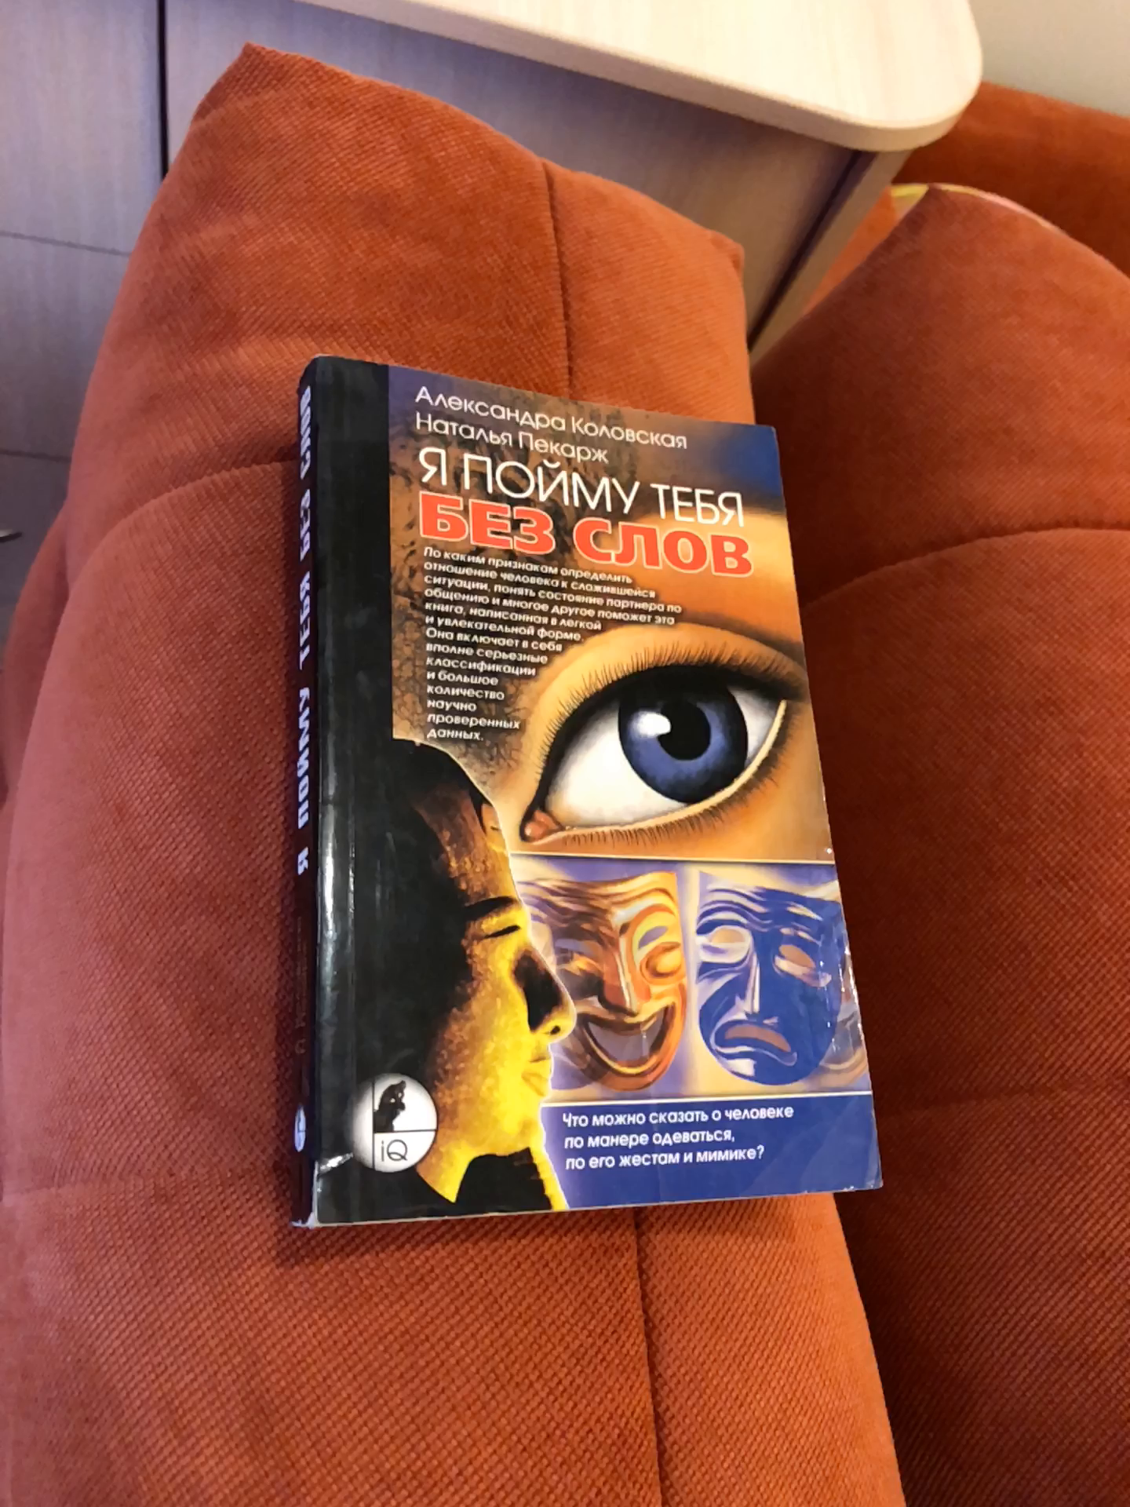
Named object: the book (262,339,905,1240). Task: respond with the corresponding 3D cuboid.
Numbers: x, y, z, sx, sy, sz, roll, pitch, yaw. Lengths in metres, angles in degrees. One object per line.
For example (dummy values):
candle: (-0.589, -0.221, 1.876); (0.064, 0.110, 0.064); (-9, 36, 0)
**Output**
book: (0.001, 0.004, 0.286); (0.129, 0.030, 0.191); (3, 70, -19)
